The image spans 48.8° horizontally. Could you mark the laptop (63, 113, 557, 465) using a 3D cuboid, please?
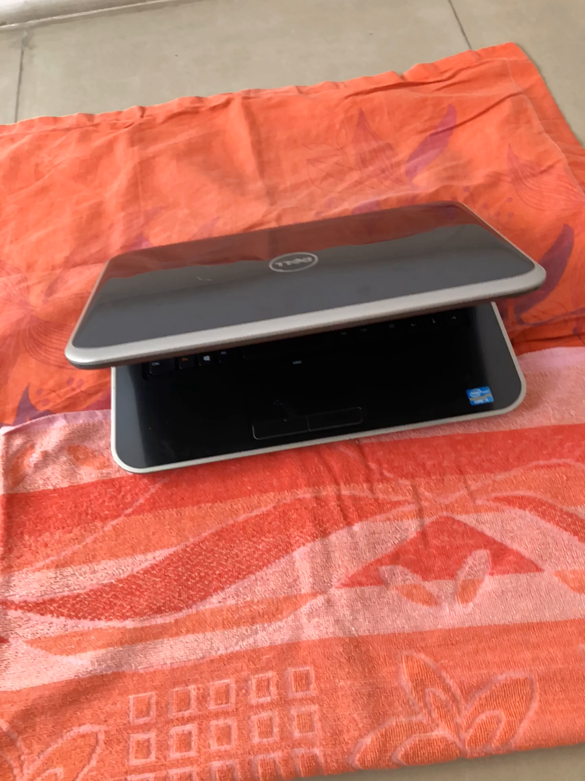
[{"bbox_3d":[0.002,-0.092,0.567,0.345,0.129,0.242,-8,59,-1],"label":"laptop"}]
